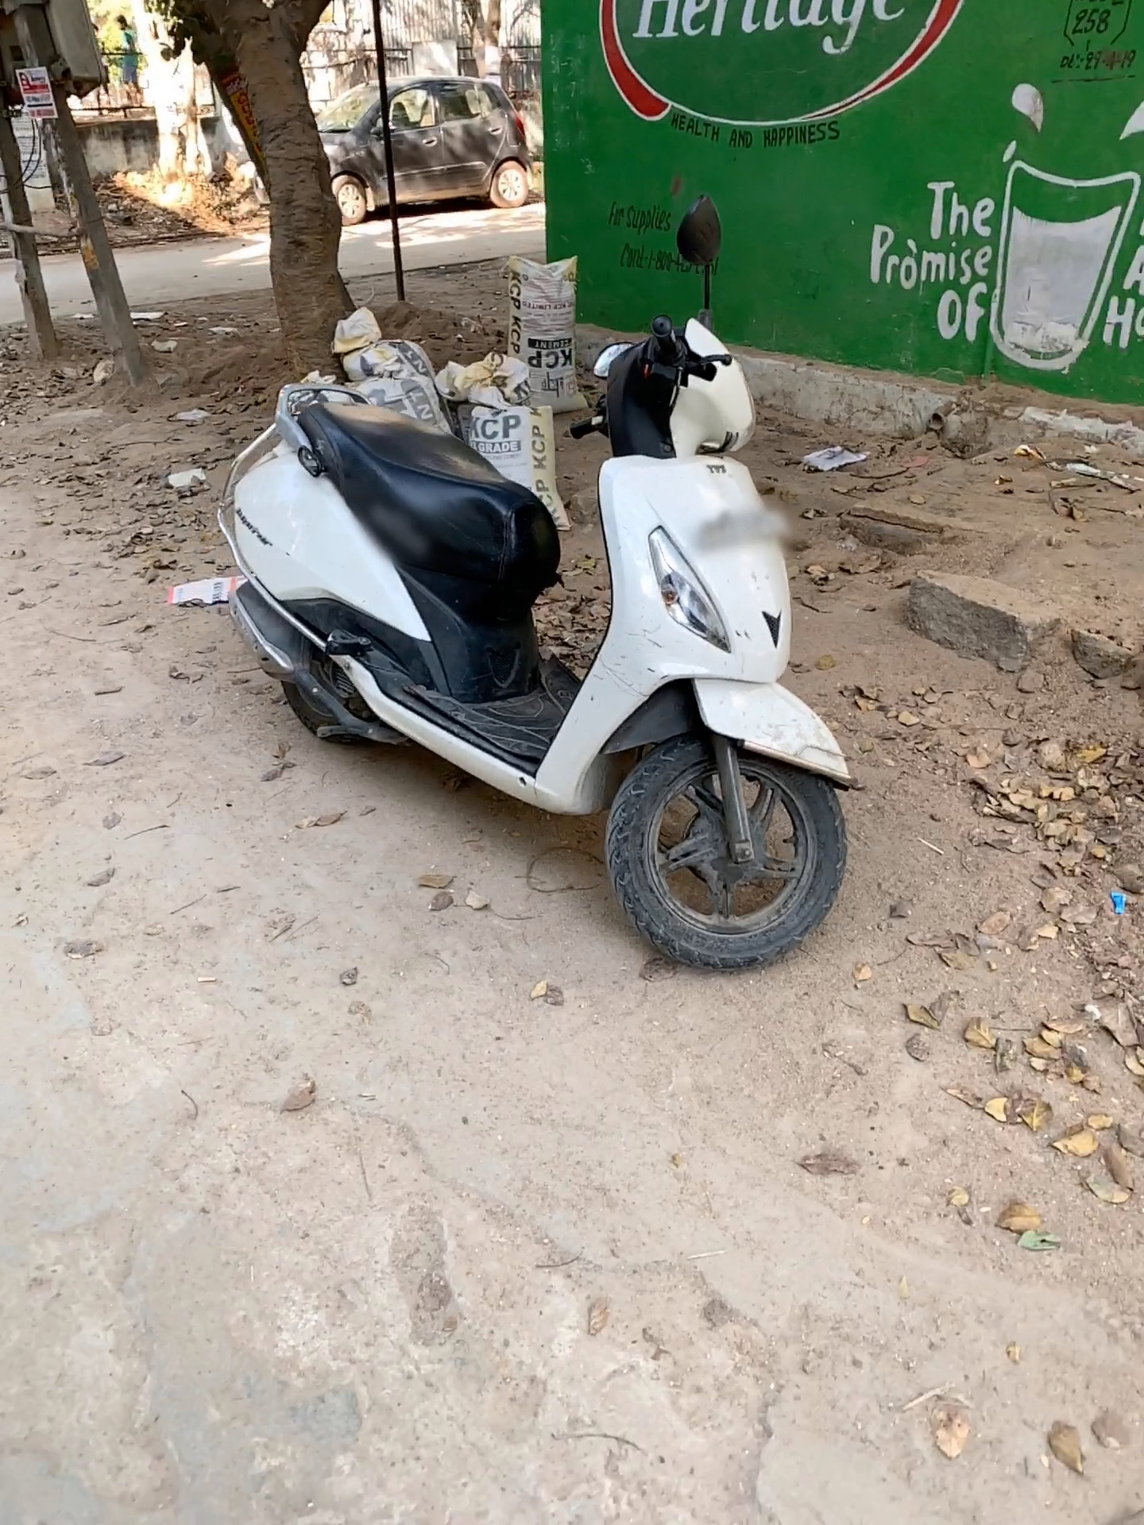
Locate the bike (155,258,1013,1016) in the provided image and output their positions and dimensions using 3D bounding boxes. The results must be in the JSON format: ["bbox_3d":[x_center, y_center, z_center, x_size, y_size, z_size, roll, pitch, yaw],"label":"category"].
[{"bbox_3d":[-0.015,-0.376,2.426,1.462,1.067,0.687,20,36,31],"label":"bike"}]
